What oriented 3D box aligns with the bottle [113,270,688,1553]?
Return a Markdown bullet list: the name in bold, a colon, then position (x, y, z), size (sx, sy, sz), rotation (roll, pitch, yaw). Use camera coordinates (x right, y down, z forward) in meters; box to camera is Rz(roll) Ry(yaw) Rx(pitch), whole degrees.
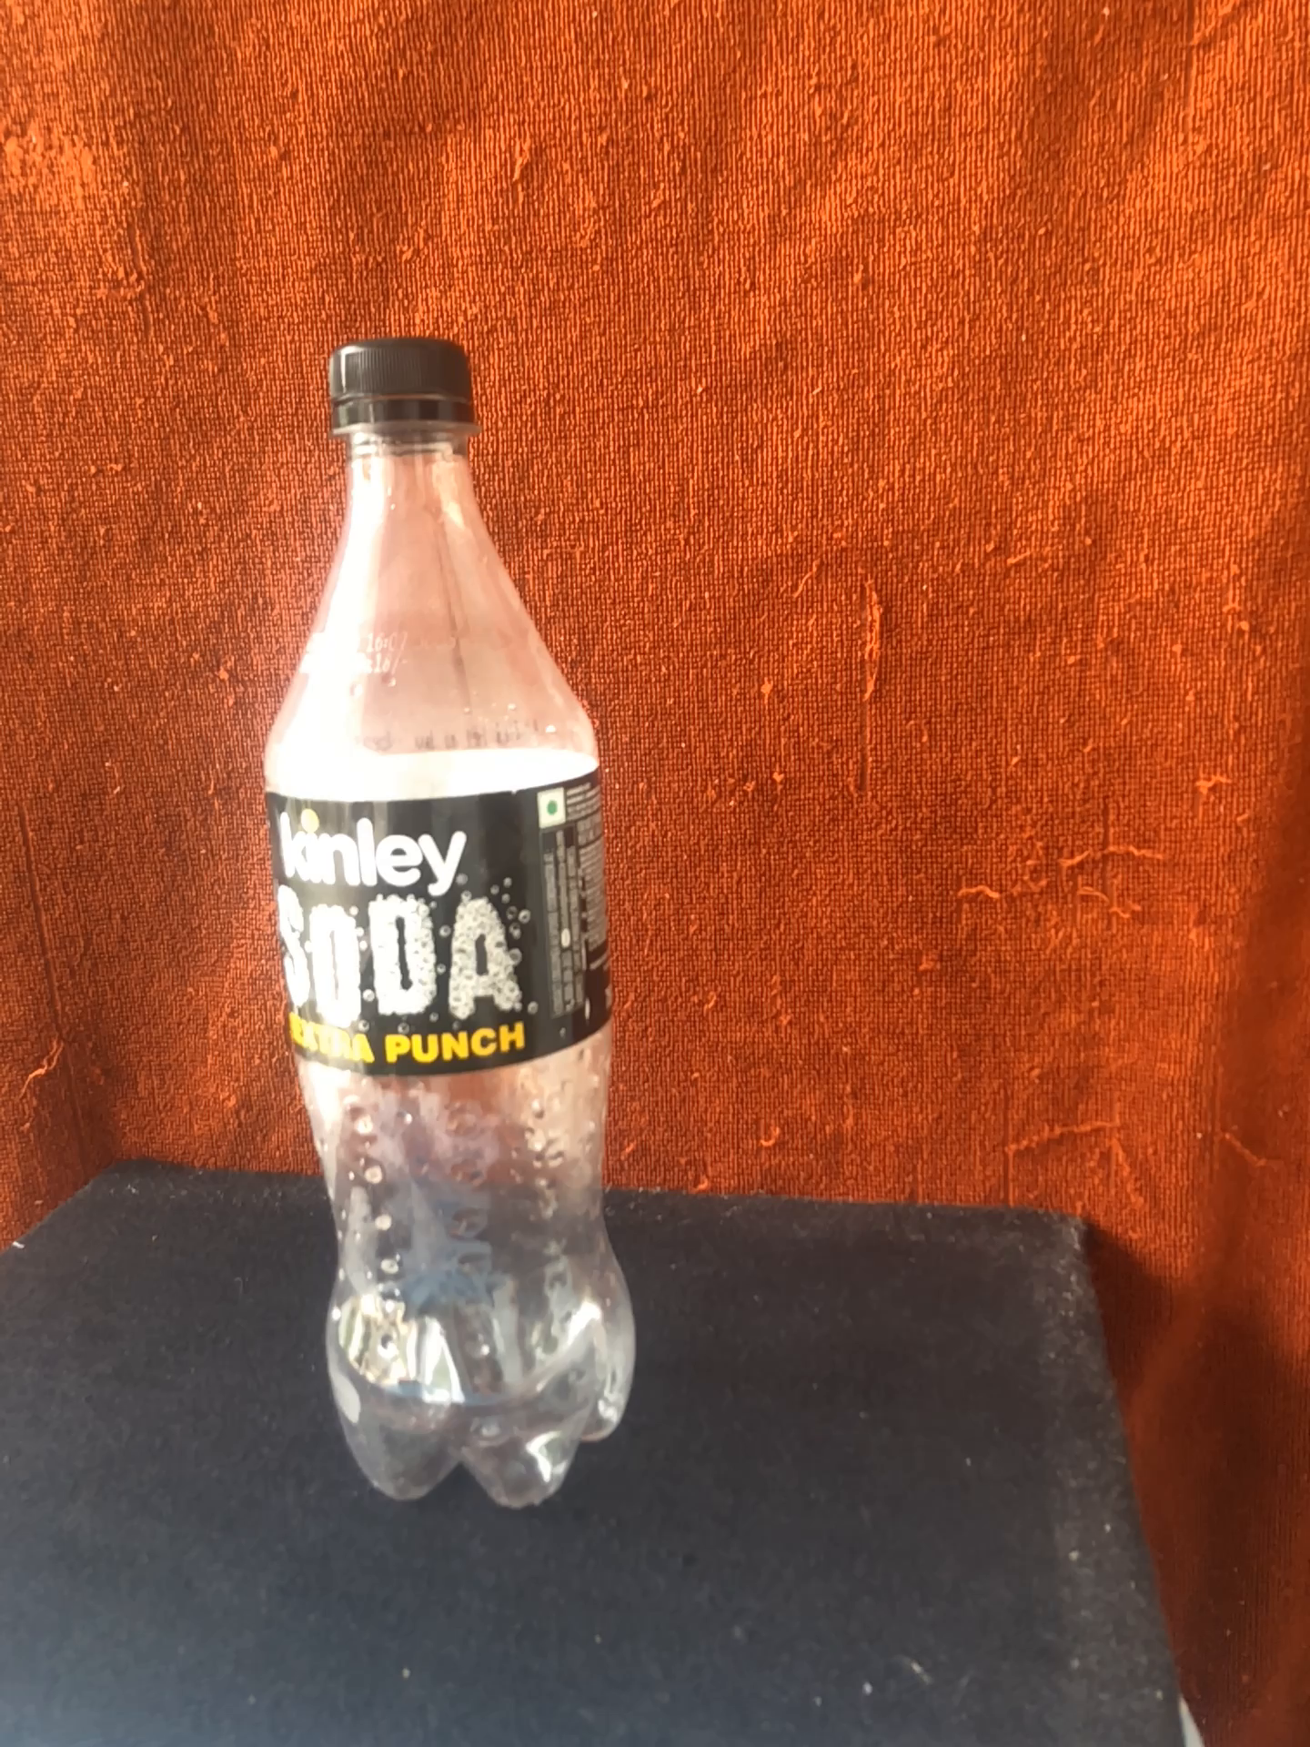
- **bottle**: position (-0.047, 0.010, 0.324), size (0.090, 0.259, 0.070), rotation (3, 15, 15)
